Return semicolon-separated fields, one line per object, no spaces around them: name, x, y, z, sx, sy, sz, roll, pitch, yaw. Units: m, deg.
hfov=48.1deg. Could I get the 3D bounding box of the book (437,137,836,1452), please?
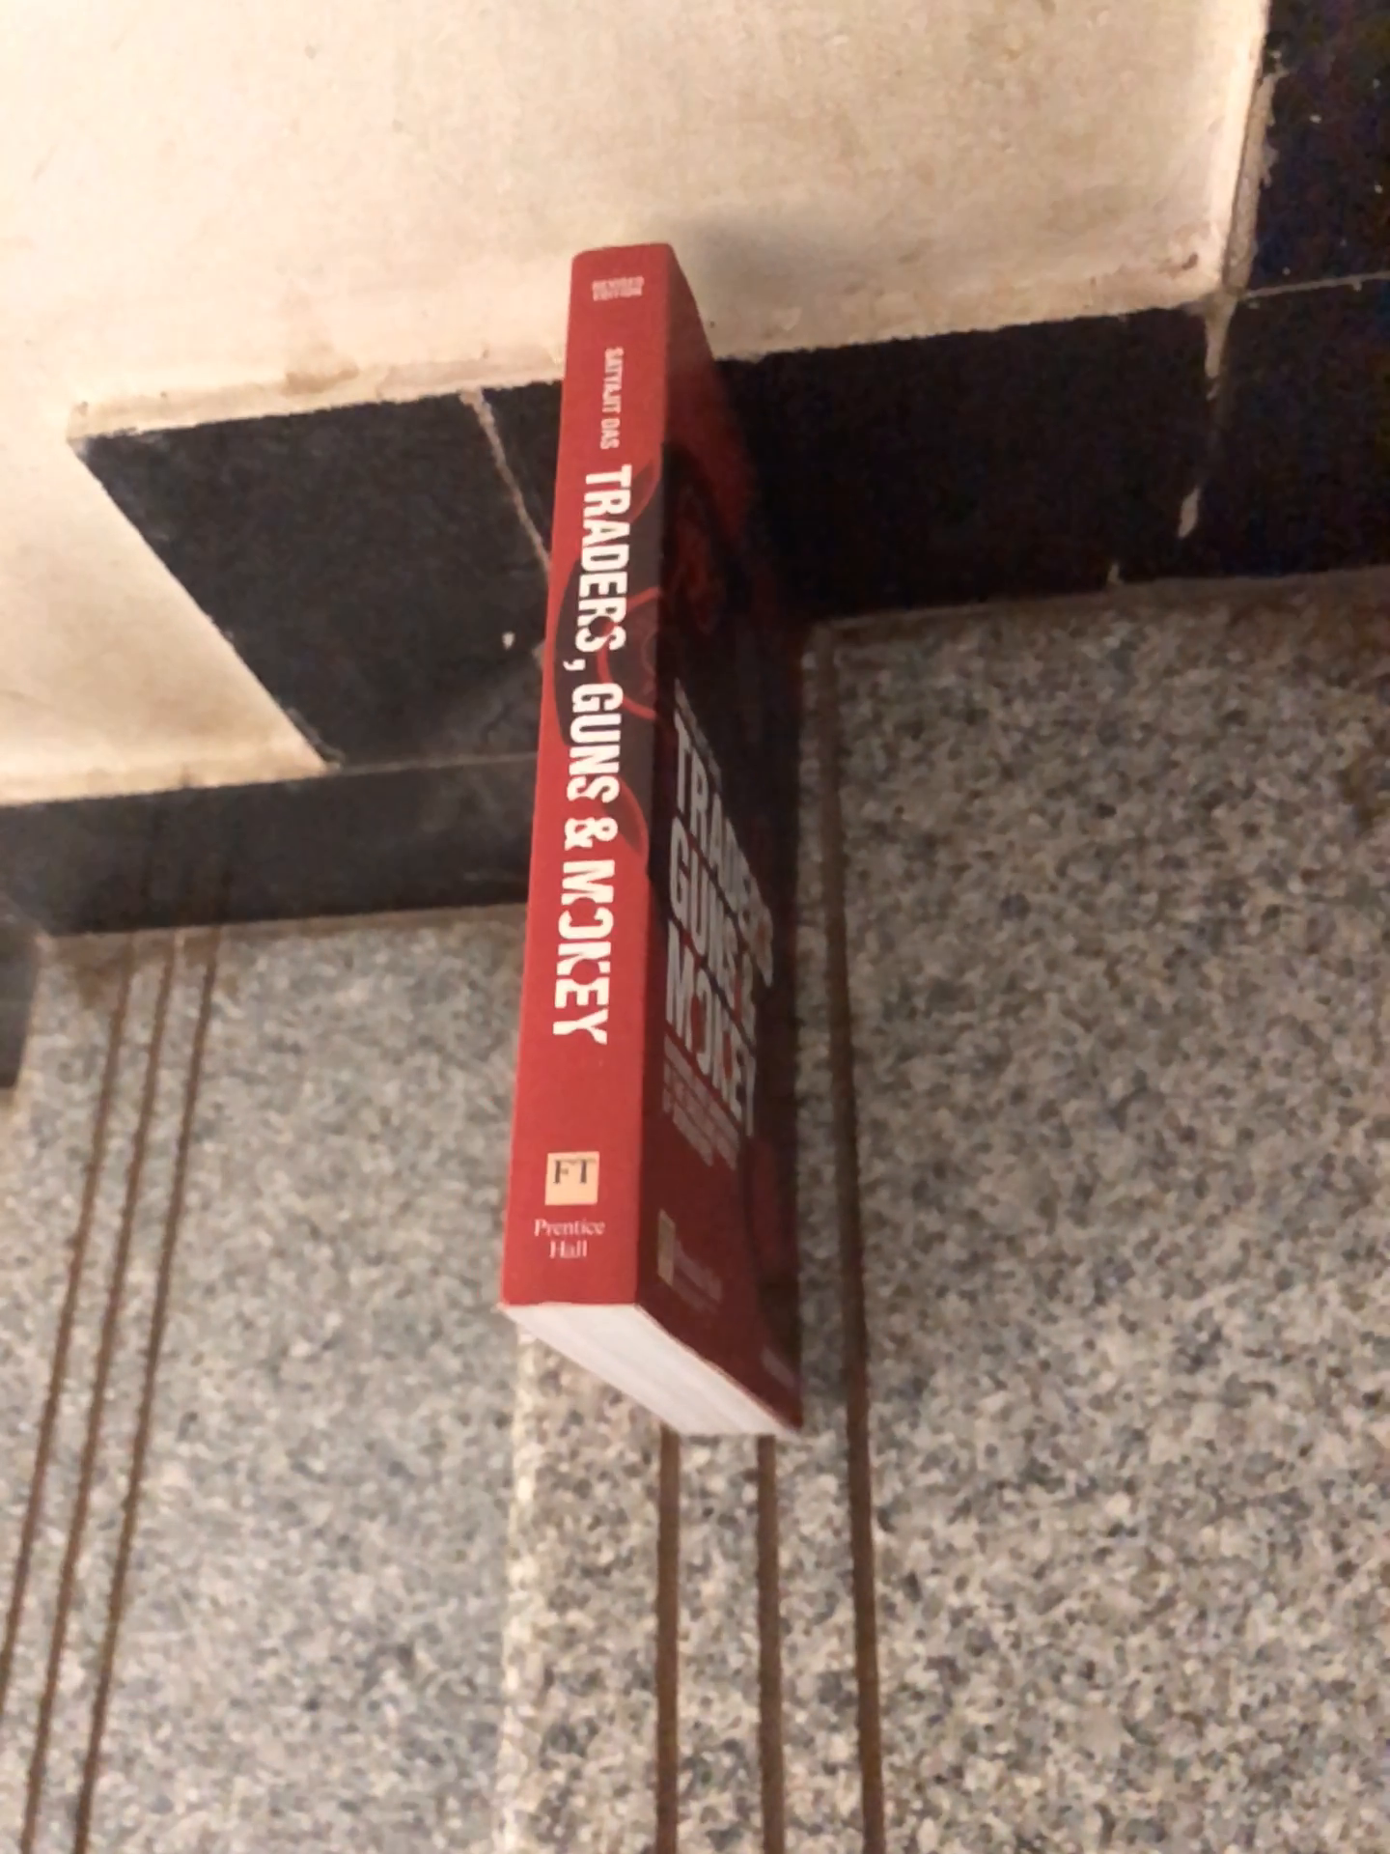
book;0.001;-0.020;0.328;0.030;0.150;0.230;-5;64;14
